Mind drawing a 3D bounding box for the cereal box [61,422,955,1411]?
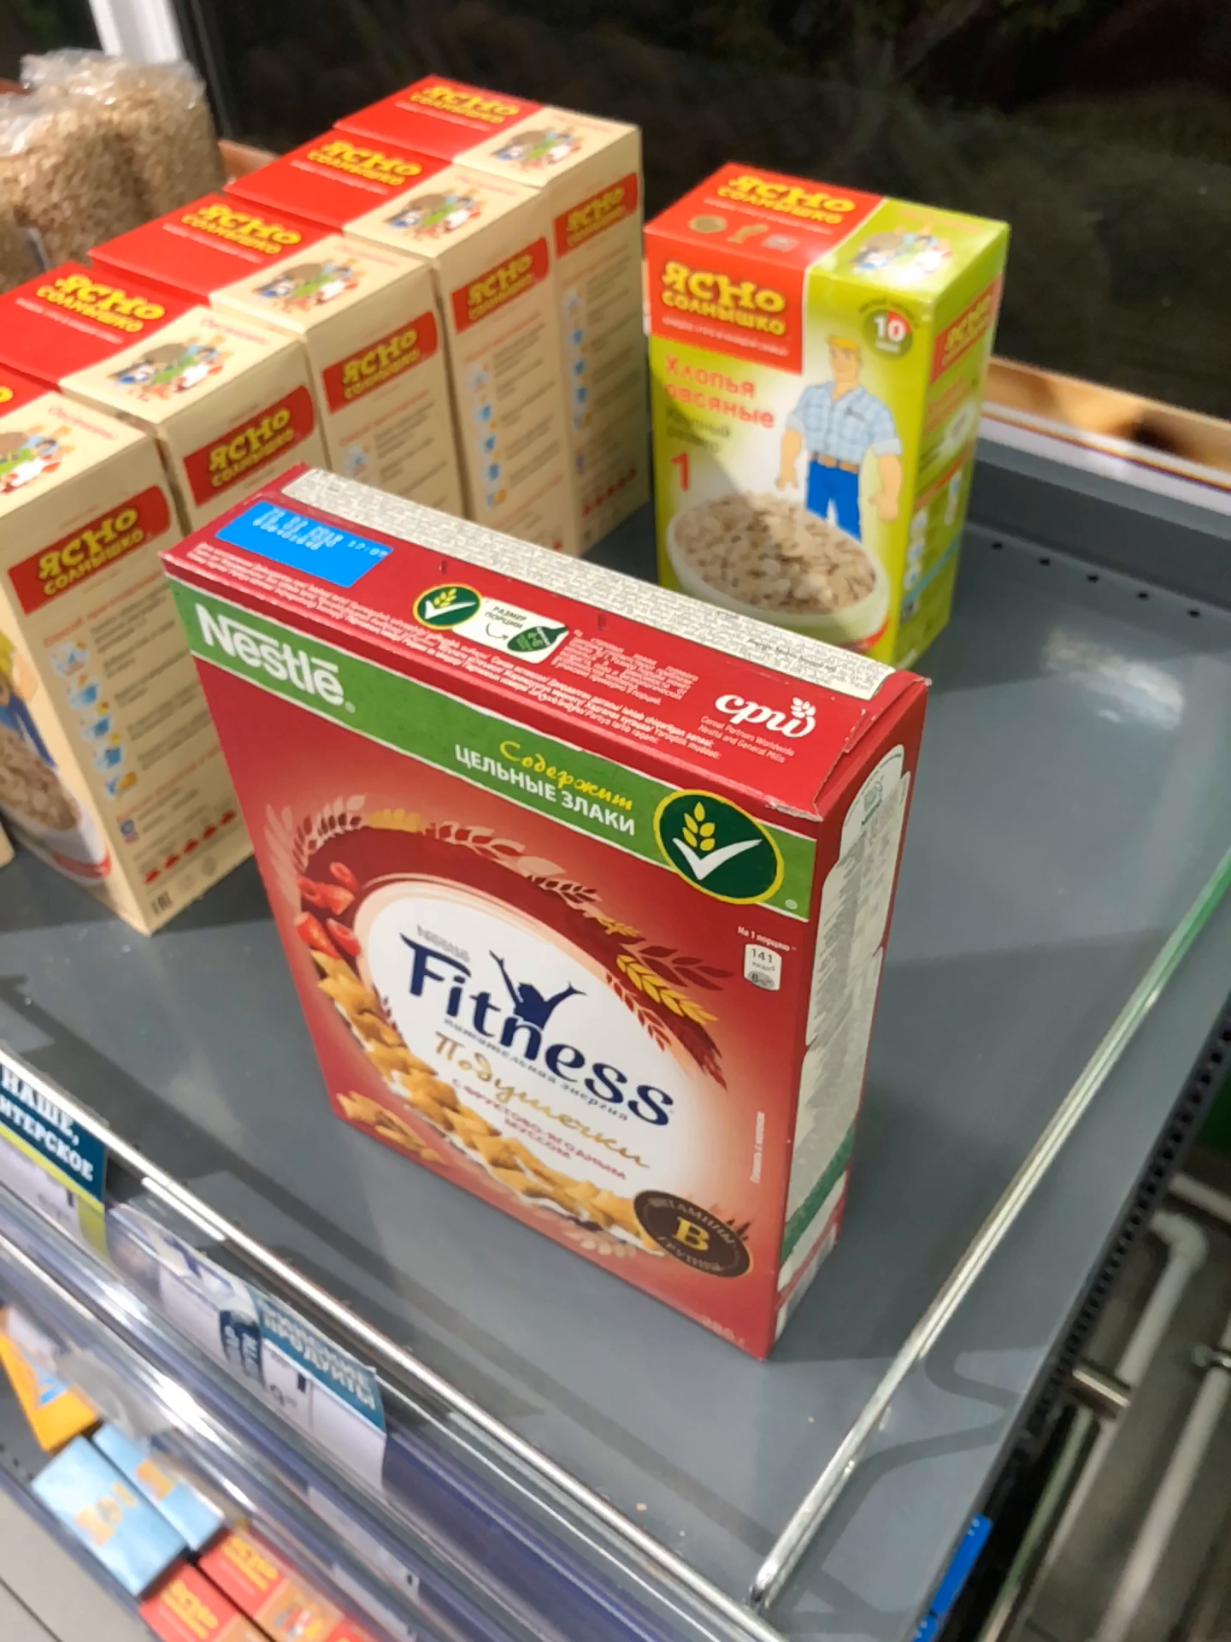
[{"bbox_3d":[-0.026,0.039,0.380,0.190,0.249,0.060,22,50,22],"label":"cereal box"}]
